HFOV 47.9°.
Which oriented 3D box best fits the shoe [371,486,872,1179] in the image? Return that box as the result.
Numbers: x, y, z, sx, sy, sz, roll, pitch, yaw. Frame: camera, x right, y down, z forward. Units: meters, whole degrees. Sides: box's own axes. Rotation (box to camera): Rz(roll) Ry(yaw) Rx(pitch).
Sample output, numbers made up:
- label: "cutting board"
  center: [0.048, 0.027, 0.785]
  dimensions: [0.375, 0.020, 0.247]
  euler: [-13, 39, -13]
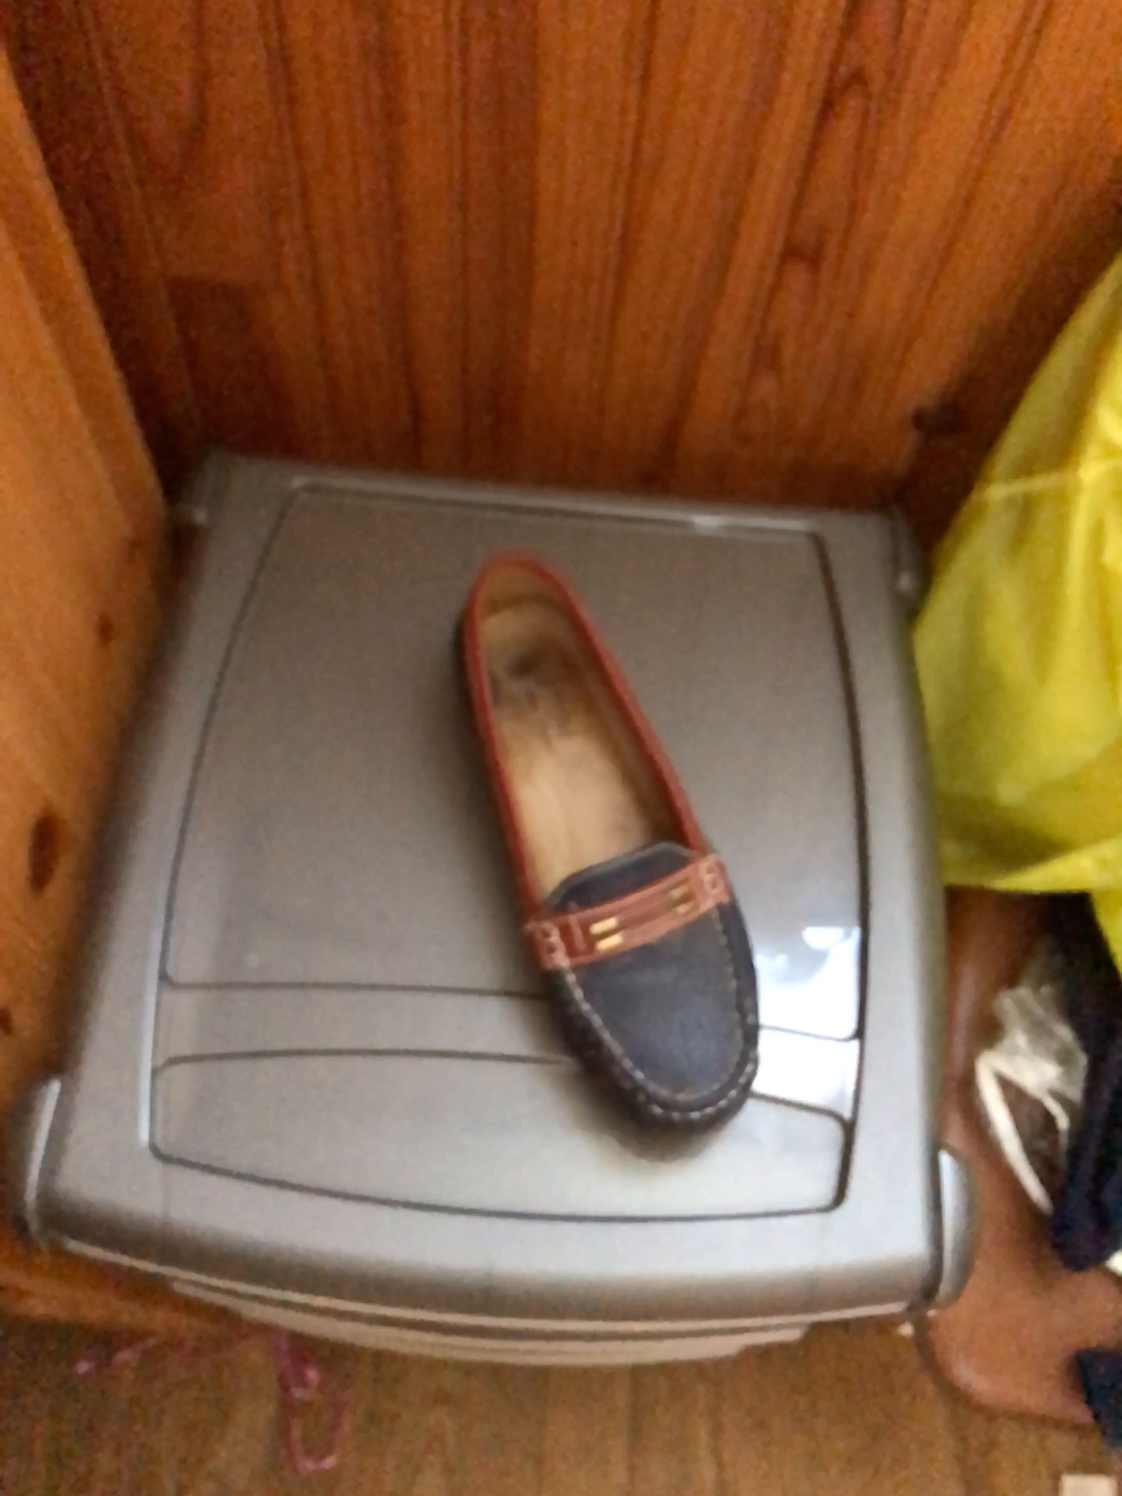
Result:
- label: "shoe"
  center: [0.013, 0.025, 0.517]
  dimensions: [0.100, 0.070, 0.260]
  euler: [-18, 65, -13]
